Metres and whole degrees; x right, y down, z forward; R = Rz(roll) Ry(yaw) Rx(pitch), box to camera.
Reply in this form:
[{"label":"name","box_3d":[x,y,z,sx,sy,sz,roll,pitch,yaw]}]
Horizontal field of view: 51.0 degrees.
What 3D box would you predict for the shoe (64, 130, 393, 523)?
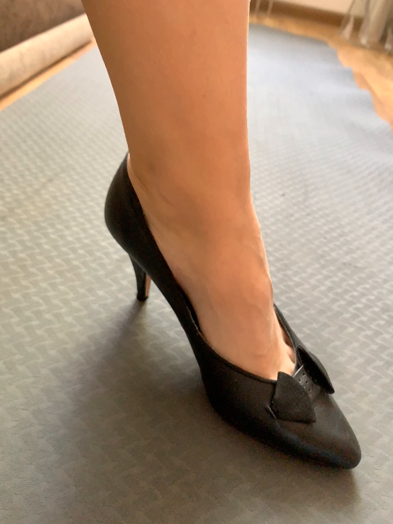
[{"label":"shoe","box_3d":[0.027,0.017,0.257,0.230,0.099,0.090,35,44,27]}]
